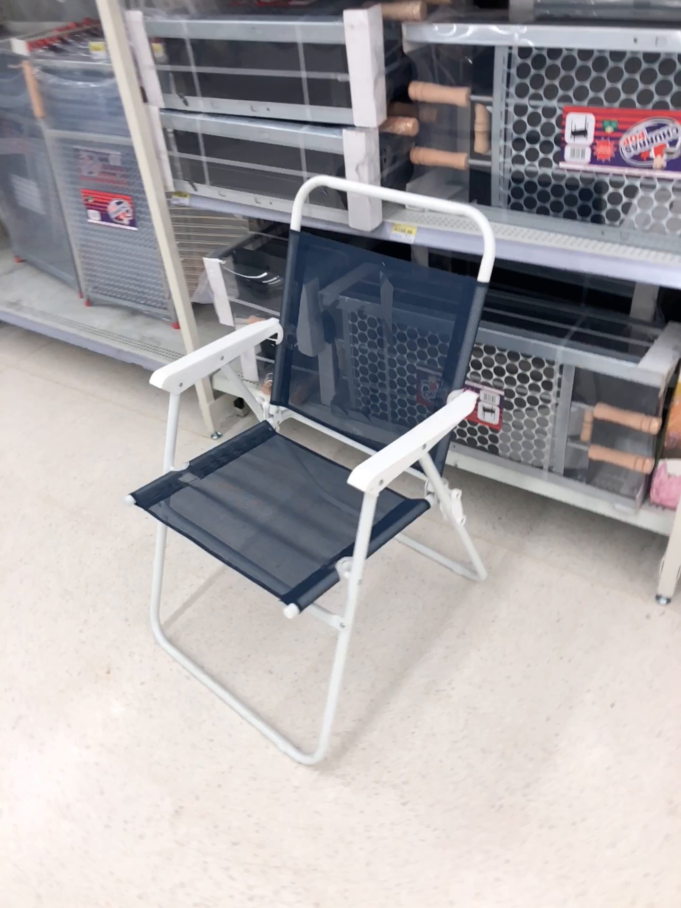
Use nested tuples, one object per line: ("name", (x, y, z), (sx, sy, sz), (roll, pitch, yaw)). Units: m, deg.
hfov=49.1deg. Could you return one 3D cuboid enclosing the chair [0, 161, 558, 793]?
("chair", (-0.056, -0.005, 1.313), (0.542, 0.734, 0.653), (26, 49, 35))
